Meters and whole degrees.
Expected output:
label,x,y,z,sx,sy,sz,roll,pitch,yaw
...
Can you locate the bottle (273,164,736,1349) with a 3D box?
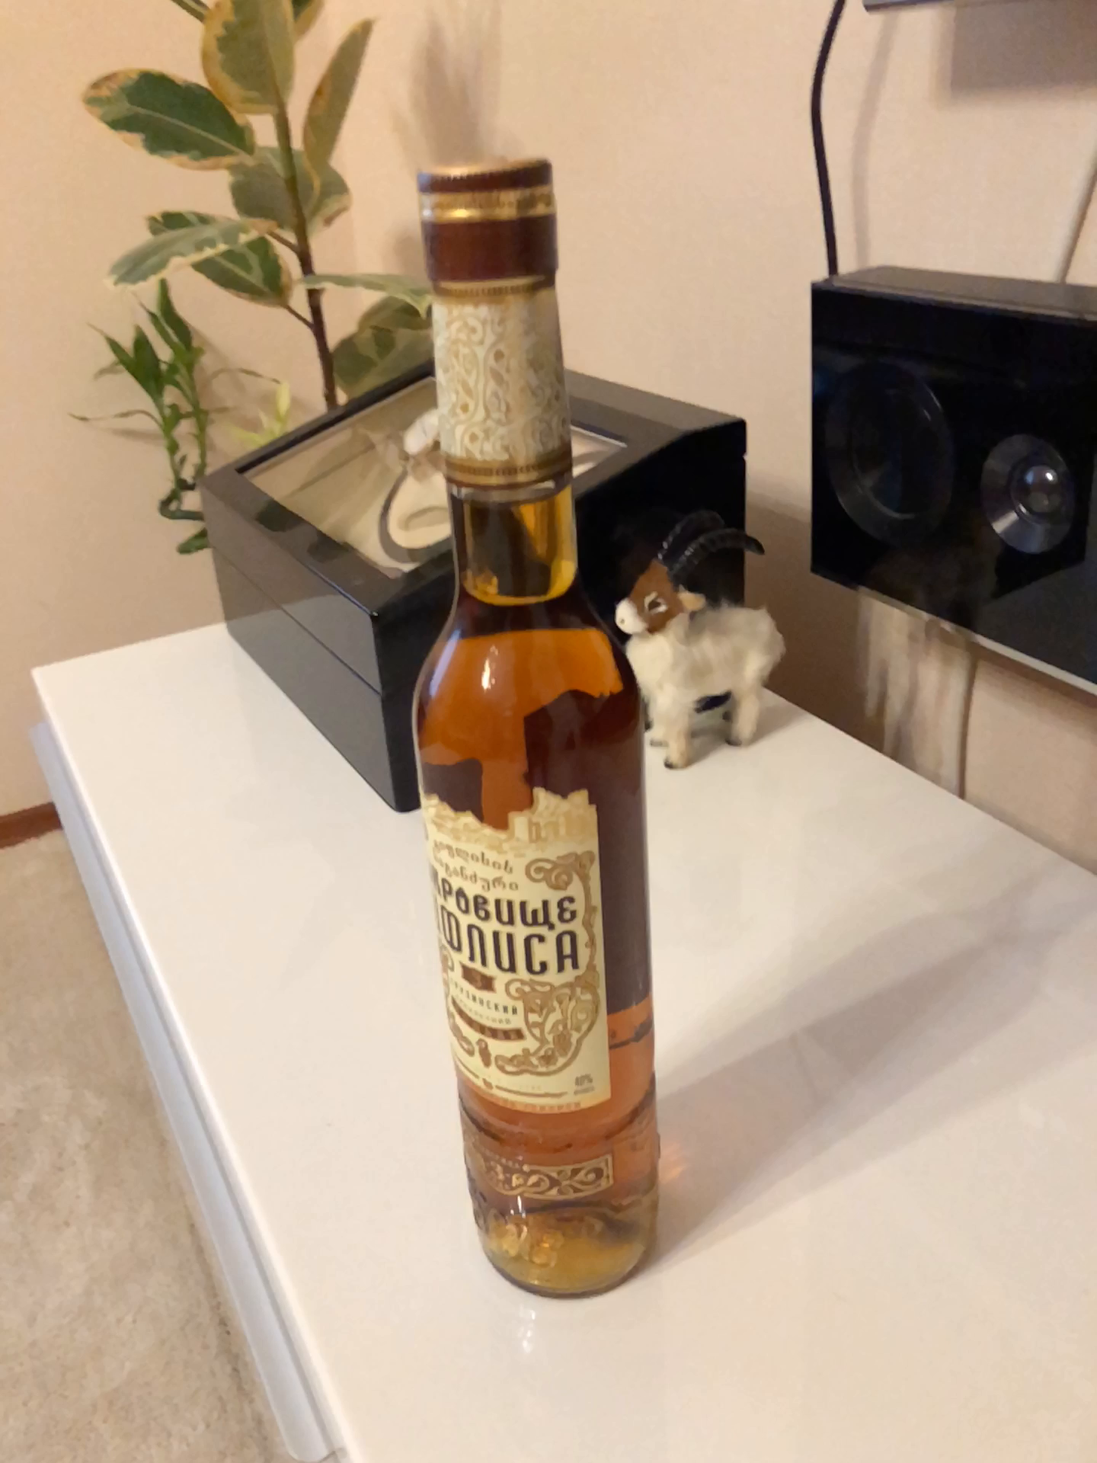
label,x,y,z,sx,sy,sz,roll,pitch,yaw
bottle,0.001,0.020,0.325,0.070,0.308,0.070,-3,27,2
